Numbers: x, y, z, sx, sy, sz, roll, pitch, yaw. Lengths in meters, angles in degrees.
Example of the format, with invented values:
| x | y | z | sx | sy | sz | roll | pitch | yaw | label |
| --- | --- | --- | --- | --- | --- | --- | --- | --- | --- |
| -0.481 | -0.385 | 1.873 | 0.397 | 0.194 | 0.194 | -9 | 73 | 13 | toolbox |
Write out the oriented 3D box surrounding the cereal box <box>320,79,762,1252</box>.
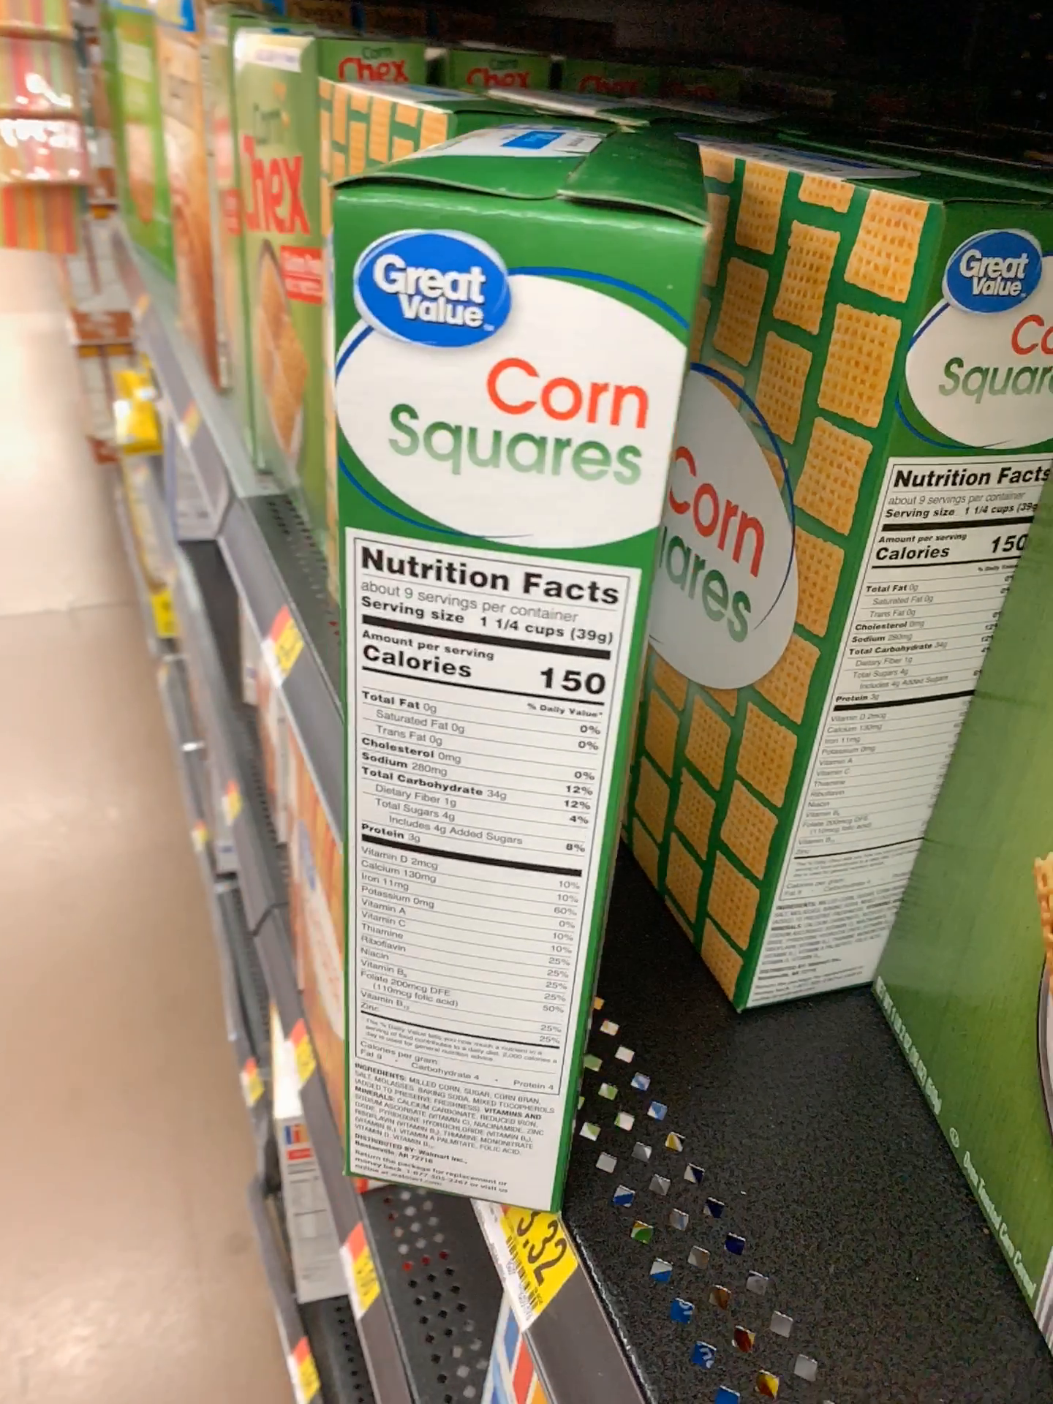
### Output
| x | y | z | sx | sy | sz | roll | pitch | yaw | label |
| --- | --- | --- | --- | --- | --- | --- | --- | --- | --- |
| 0.004 | -0.017 | 0.332 | 0.070 | 0.288 | 0.201 | 8 | 32 | 4 | cereal box |
